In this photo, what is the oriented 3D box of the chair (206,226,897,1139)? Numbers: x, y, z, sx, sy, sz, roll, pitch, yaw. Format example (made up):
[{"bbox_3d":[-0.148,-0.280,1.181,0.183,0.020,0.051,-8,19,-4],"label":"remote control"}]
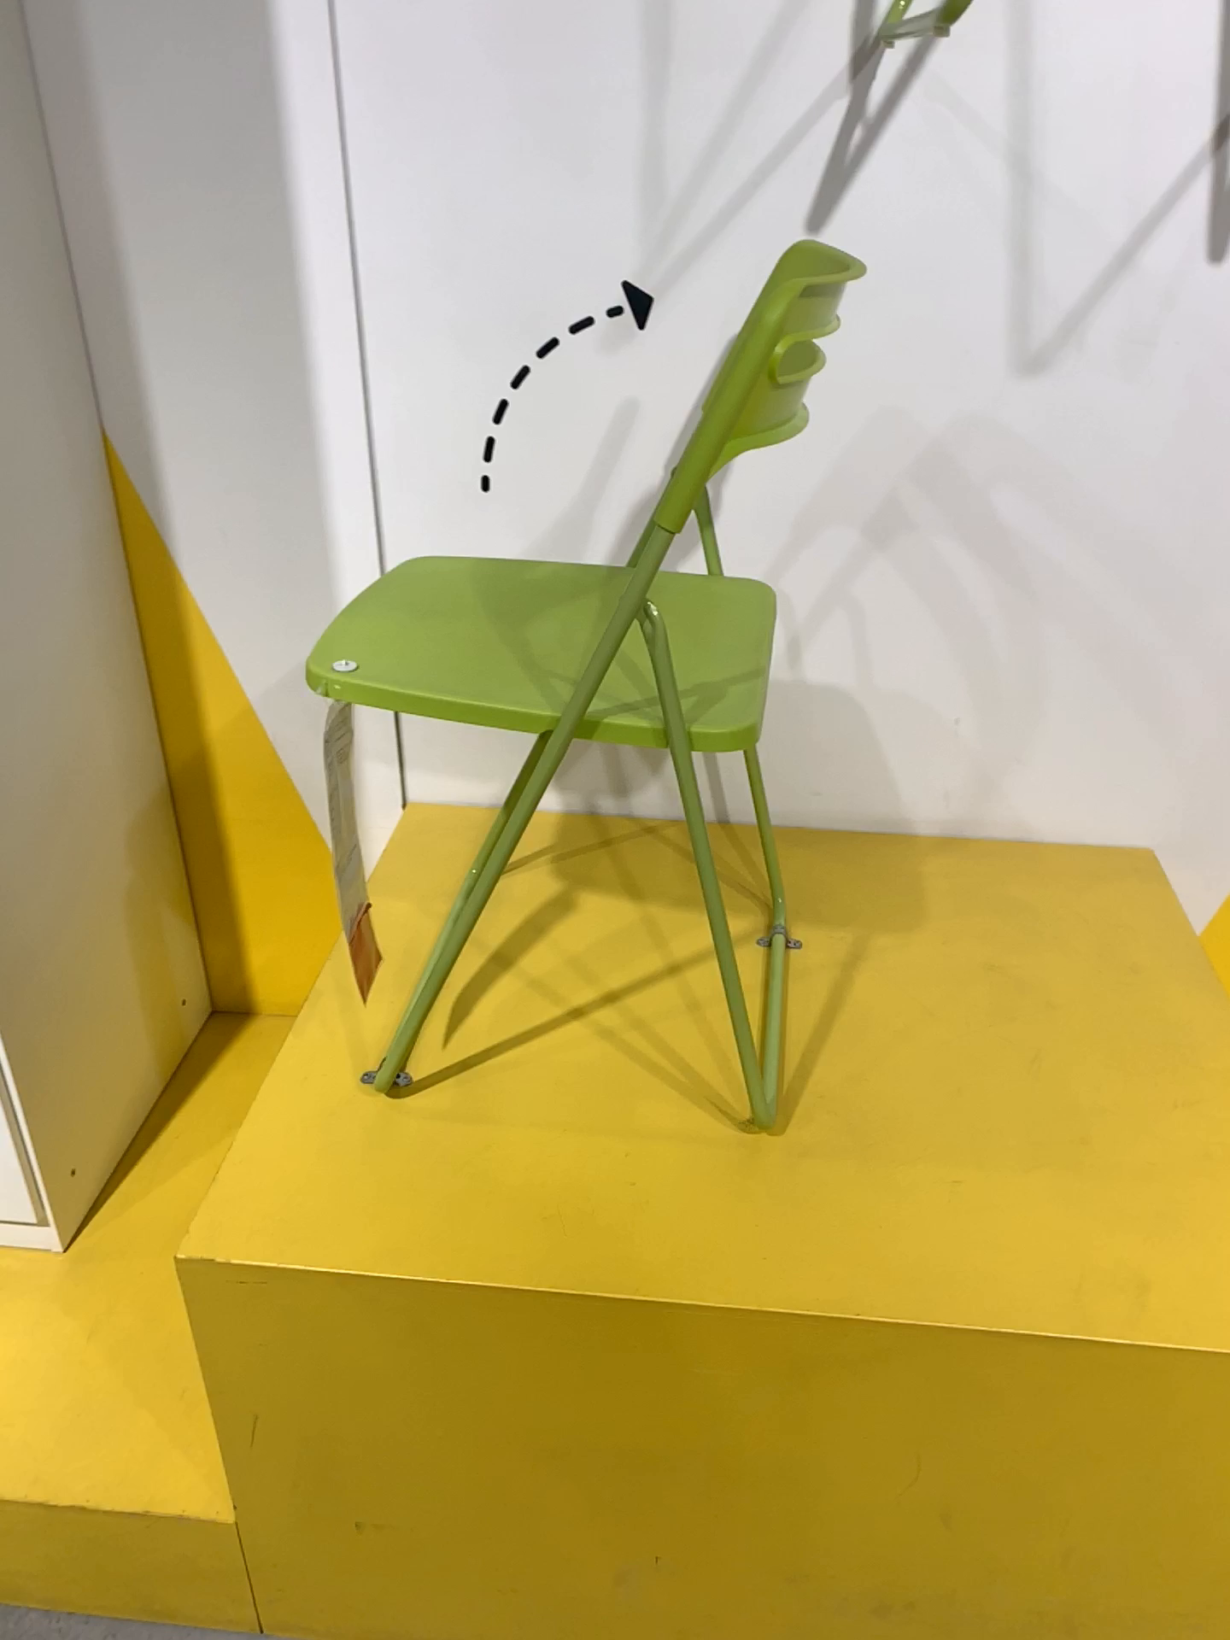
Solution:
[{"bbox_3d":[-0.021,-0.148,1.190,0.460,0.717,0.452,4,29,7],"label":"chair"}]
